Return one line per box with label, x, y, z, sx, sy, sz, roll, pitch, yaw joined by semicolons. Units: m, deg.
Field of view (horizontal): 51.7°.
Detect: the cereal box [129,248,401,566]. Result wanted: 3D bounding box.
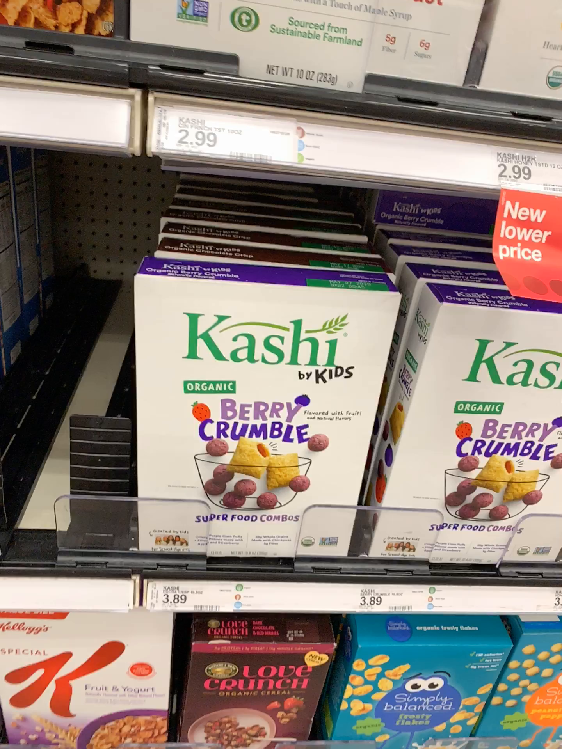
cereal box;-0.027;0.044;0.491;0.190;0.279;0.050;3;30;-9
